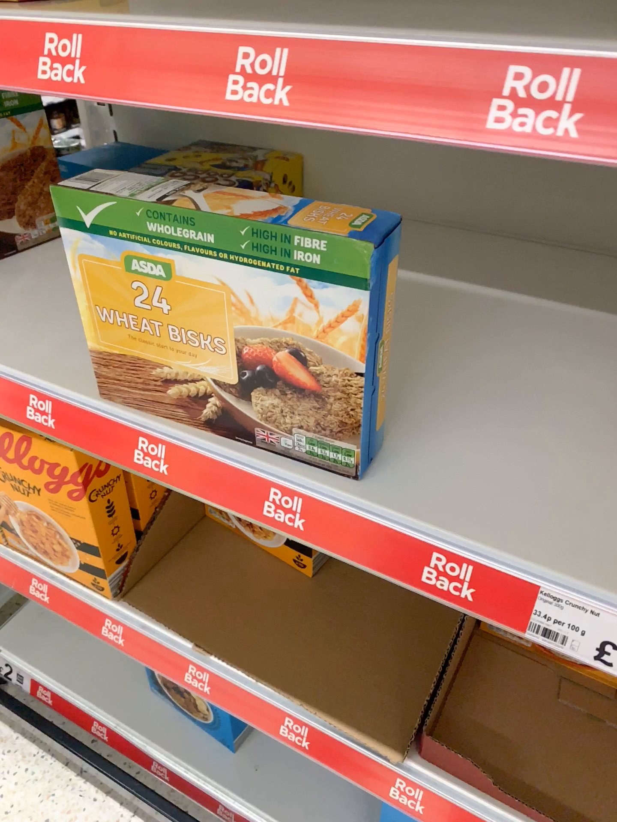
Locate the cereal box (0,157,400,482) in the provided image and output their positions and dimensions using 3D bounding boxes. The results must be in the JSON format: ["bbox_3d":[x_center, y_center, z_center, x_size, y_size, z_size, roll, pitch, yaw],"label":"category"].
[{"bbox_3d":[-0.078,-0.071,0.465,0.270,0.178,0.060,16,40,21],"label":"cereal box"}]
